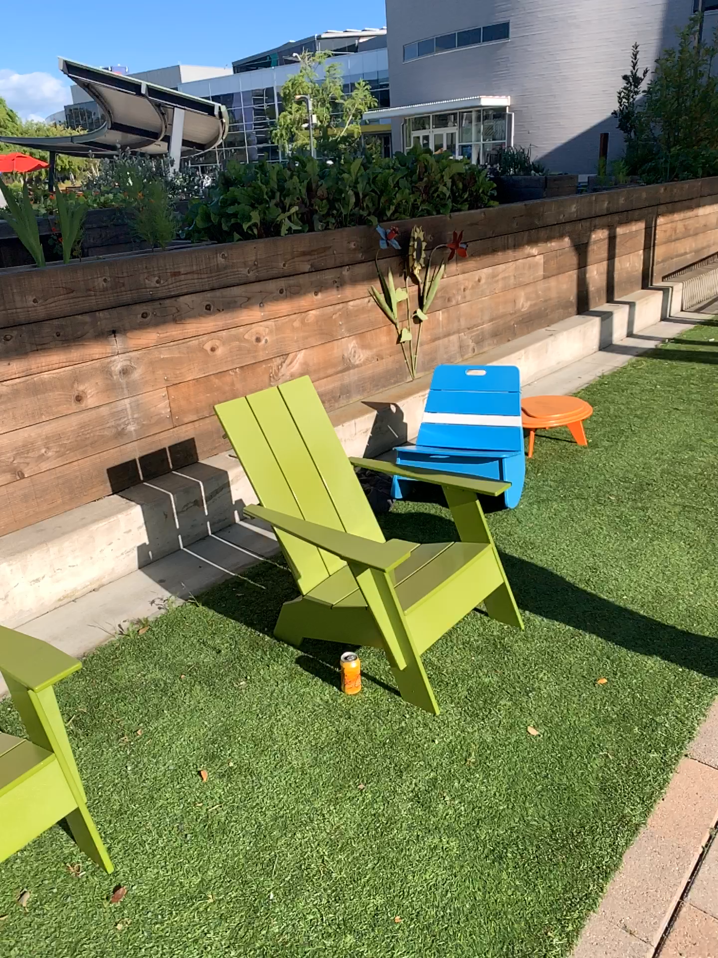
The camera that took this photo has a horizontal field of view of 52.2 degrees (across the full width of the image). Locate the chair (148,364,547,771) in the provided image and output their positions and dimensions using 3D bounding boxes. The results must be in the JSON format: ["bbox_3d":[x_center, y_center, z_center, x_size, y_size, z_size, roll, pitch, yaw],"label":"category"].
[{"bbox_3d":[-0.024,0.192,2.580,1.003,0.895,0.852,16,29,38],"label":"chair"}]
